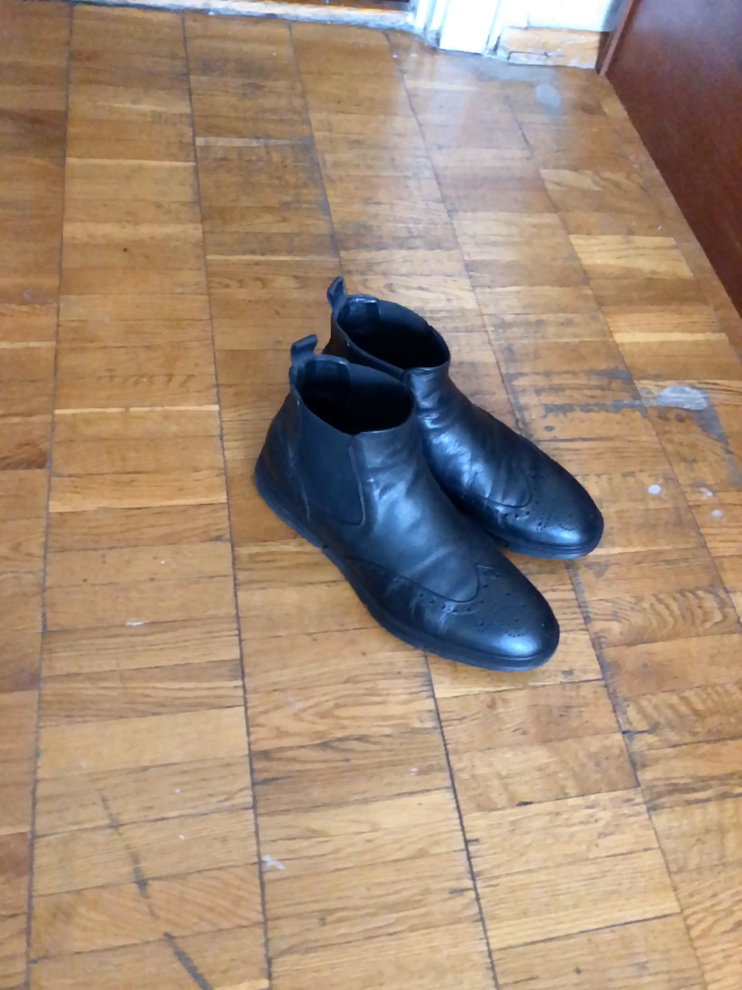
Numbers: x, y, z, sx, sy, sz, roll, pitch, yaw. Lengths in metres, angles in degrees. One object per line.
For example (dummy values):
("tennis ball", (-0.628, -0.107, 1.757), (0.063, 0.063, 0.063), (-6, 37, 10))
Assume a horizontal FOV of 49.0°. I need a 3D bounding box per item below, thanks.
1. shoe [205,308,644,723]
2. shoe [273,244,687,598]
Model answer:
("shoe", (0.025, 0.014, 0.619), (0.300, 0.139, 0.111), (36, 58, 14))
("shoe", (0.078, -0.062, 0.681), (0.300, 0.139, 0.111), (29, 56, 9))
